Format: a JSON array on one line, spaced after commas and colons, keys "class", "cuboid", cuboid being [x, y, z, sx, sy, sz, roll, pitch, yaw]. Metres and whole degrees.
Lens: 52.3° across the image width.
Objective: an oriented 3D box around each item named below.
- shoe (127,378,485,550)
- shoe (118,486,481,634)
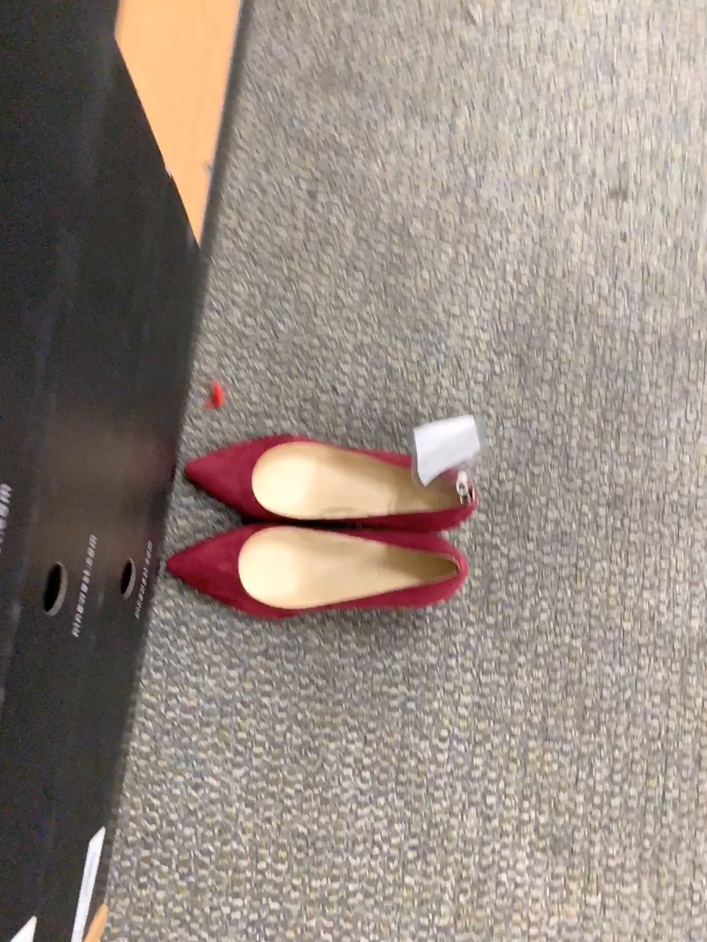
[{"class": "shoe", "cuboid": [-0.039, 0.006, 0.621, 0.250, 0.200, 0.090, 7, 82, -4]}, {"class": "shoe", "cuboid": [-0.042, 0.077, 0.606, 0.250, 0.200, 0.090, 4, 82, -4]}]
